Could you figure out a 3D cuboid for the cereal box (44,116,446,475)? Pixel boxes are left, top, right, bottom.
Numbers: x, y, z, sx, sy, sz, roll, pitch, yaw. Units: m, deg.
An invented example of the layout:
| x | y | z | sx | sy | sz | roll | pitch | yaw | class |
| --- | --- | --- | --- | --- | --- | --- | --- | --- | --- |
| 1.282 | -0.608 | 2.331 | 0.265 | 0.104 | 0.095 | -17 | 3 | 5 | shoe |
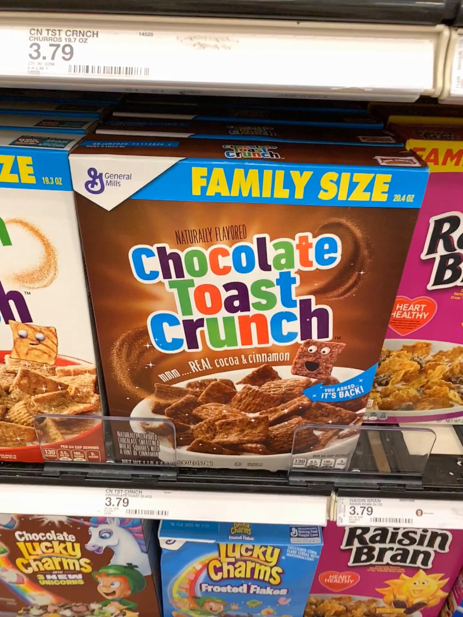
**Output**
| x | y | z | sx | sy | sz | roll | pitch | yaw | class |
| --- | --- | --- | --- | --- | --- | --- | --- | --- | --- |
| 0.005 | 0.013 | 0.397 | 0.240 | 0.308 | 0.060 | 2 | 34 | 0 | cereal box |
